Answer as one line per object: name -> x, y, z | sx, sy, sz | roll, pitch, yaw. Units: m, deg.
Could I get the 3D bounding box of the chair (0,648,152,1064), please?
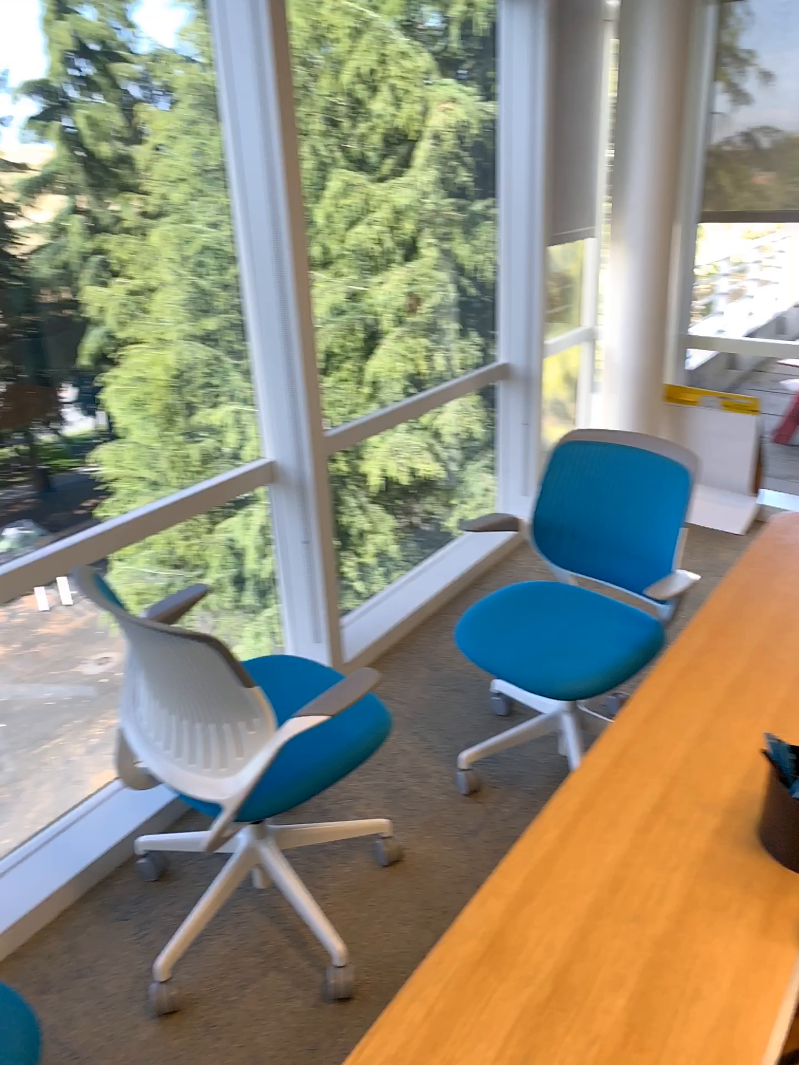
chair -> -1.099, 0.942, 1.383 | 0.871, 1.134, 0.733 | 7, 25, 20

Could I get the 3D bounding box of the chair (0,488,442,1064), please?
chair -> -0.354, 0.529, 1.873 | 0.652, 1.014, 0.642 | 12, 27, 30

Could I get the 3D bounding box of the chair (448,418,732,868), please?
chair -> 0.567, 0.294, 2.502 | 0.542, 1.094, 0.631 | 17, 30, 38
